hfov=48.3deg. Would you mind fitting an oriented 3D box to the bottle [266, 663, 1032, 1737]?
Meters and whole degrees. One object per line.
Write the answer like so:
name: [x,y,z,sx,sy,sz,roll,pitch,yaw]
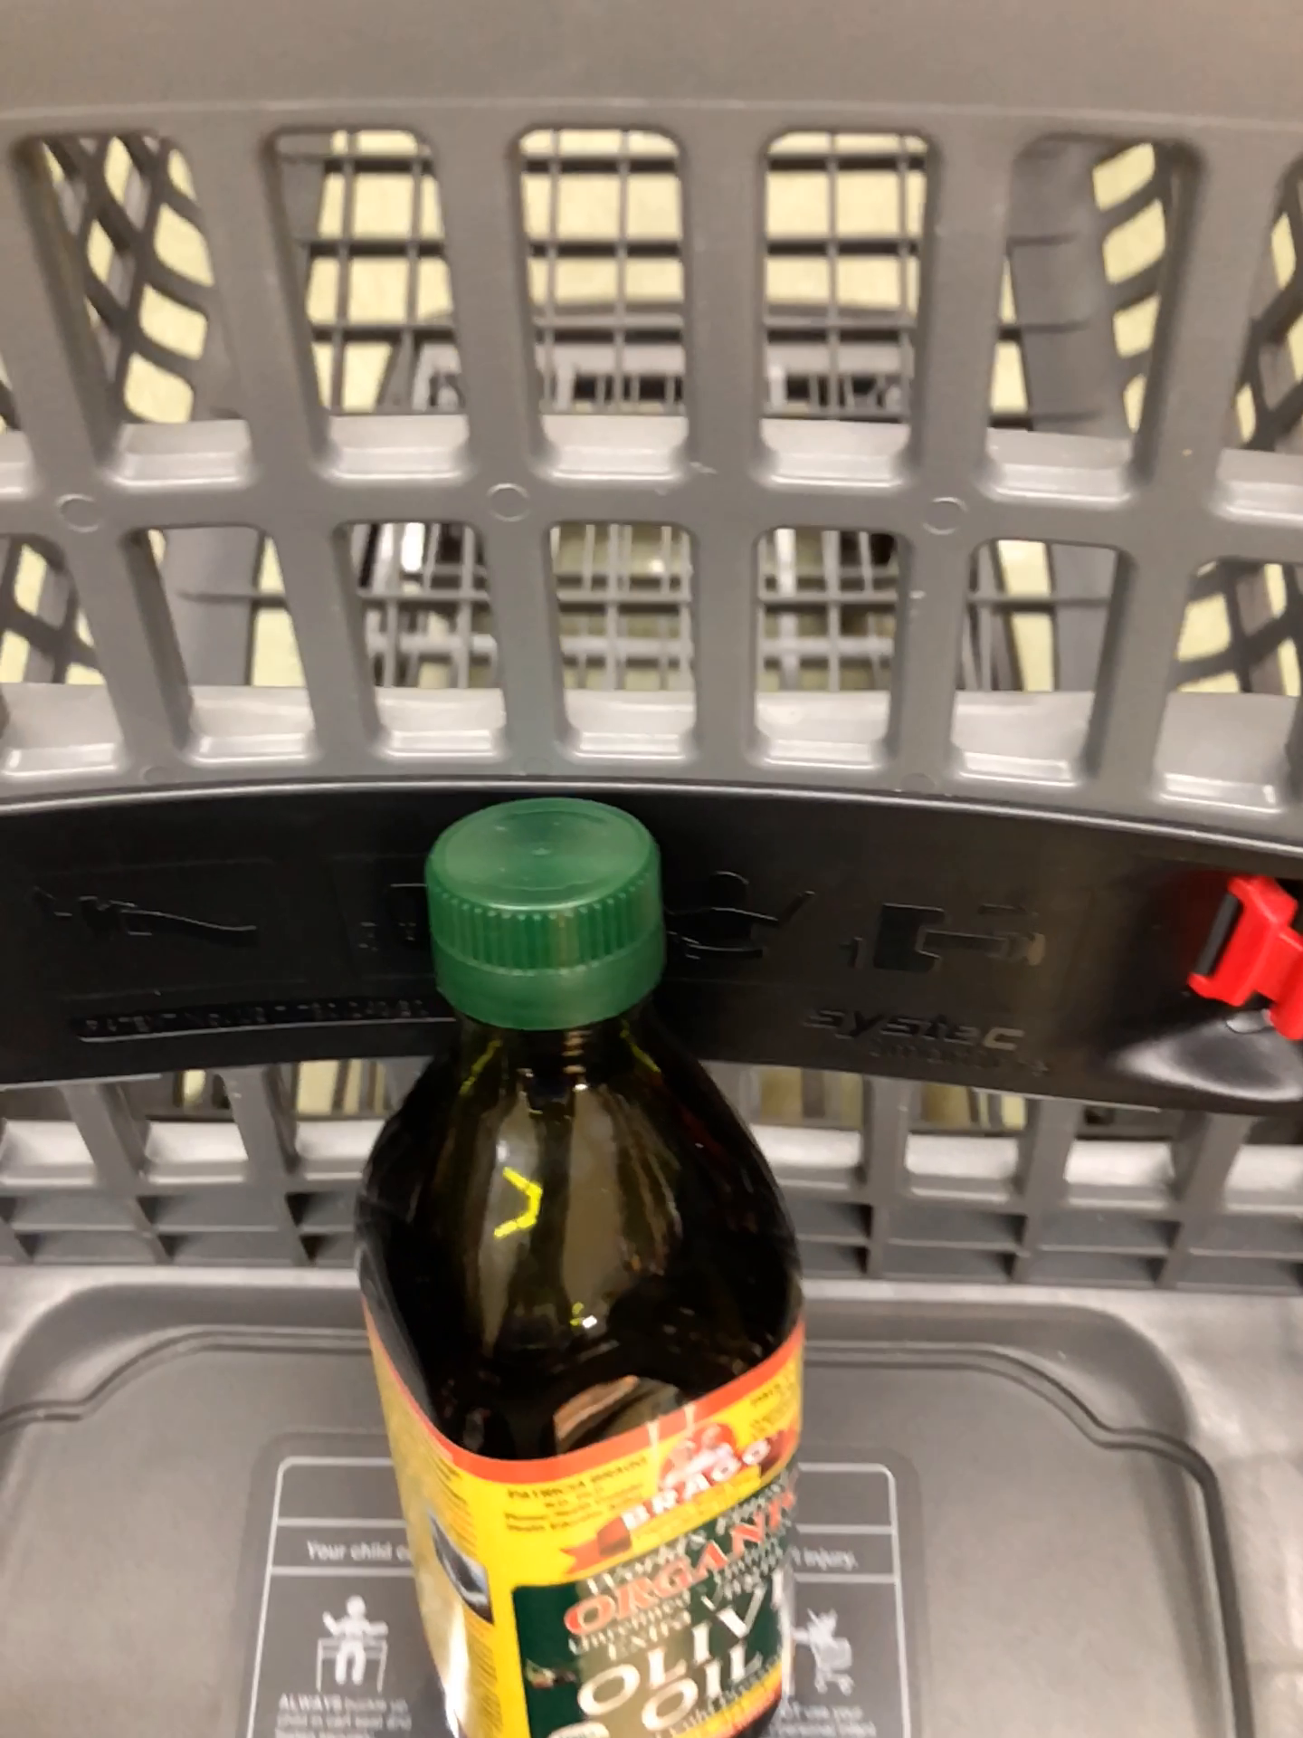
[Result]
bottle: [-0.003,0.074,0.248,0.080,0.193,0.070,-17,35,-26]
